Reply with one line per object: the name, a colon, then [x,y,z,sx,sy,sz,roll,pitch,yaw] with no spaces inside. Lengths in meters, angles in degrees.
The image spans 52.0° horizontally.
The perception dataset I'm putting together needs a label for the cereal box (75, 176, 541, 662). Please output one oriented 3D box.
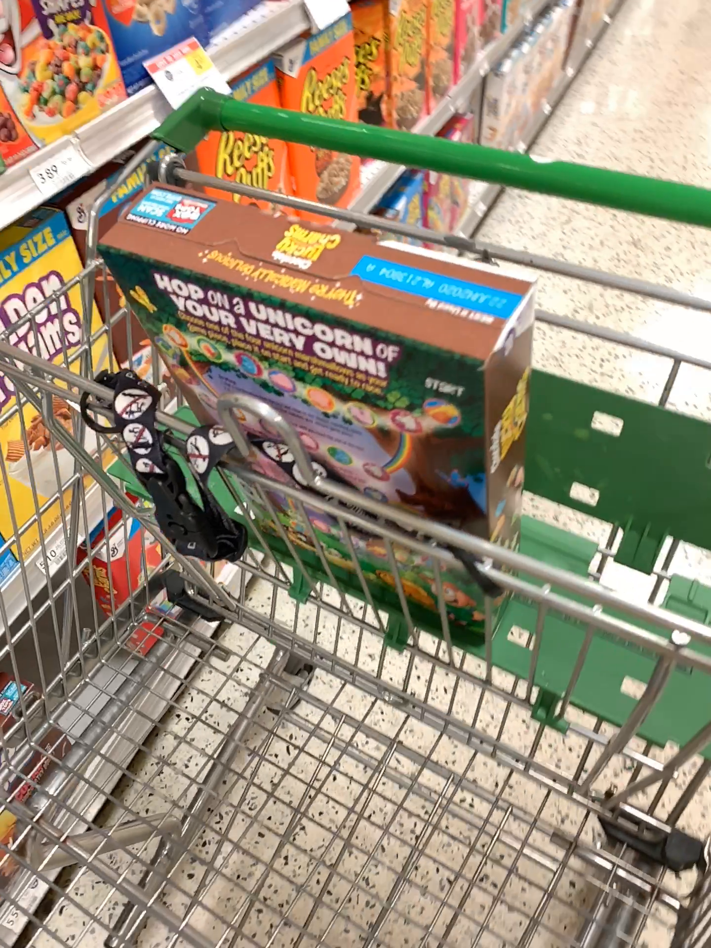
cereal box: [-0.007,-0.008,0.424,0.200,0.297,0.050,21,62,23]
